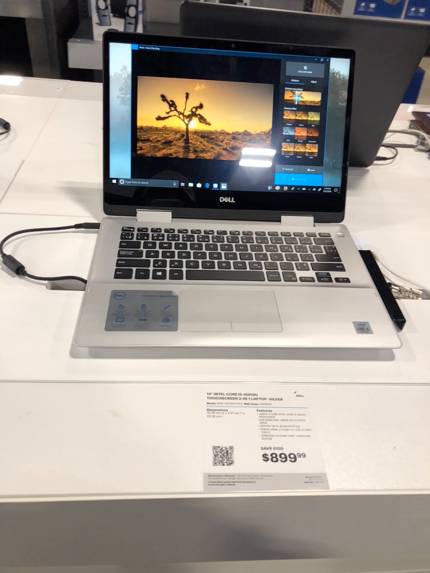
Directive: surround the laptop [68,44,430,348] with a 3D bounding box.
[{"bbox_3d":[0.039,-0.120,0.519,0.311,0.195,0.328,1,38,-3],"label":"laptop"}]
